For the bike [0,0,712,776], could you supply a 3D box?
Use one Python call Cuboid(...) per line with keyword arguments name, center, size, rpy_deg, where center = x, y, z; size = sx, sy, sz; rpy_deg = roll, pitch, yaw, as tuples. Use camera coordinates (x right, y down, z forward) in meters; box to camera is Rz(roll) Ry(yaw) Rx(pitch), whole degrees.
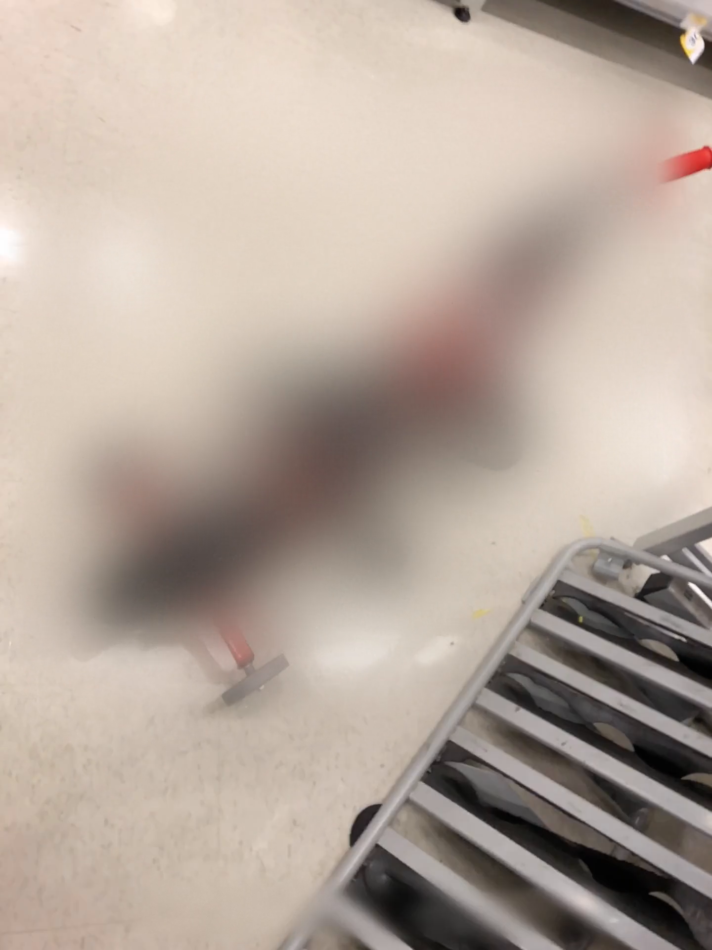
Cuboid(name="bike", center=(-0.015, -0.106, 1.004), size=(0.531, 0.679, 0.701), rpy_deg=(48, 57, 0))
